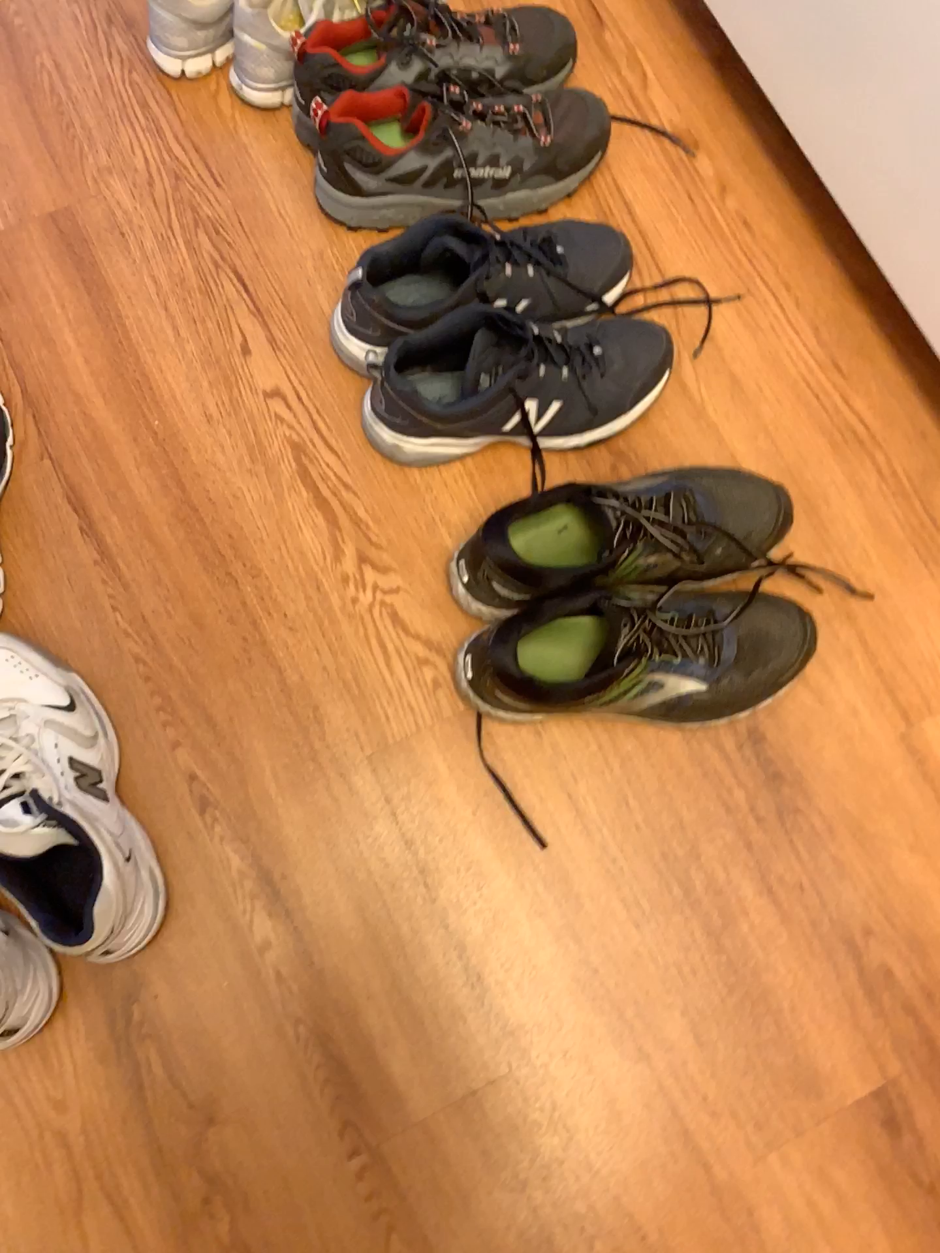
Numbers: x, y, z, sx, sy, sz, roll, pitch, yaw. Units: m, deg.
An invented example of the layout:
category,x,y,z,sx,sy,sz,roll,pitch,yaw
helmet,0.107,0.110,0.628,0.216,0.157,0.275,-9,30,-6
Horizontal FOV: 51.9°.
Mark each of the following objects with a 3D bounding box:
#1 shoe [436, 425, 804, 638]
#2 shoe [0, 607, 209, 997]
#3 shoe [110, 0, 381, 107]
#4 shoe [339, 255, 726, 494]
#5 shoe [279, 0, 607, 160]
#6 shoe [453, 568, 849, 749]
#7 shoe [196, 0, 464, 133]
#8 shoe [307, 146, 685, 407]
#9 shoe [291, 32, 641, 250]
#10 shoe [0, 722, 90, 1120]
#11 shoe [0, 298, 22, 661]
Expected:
category,x,y,z,sx,sy,sz,roll,pitch,yaw
shoe,0.123,-0.082,0.860,0.290,0.110,0.110,-10,76,-5
shoe,-0.328,0.137,0.766,0.110,0.130,0.260,-28,78,-9
shoe,-0.230,-0.671,1.026,0.270,0.080,0.080,-34,79,-11
shoe,0.051,-0.224,0.869,0.310,0.100,0.120,-12,76,-6
shoe,-0.028,-0.567,0.970,0.300,0.090,0.100,-12,76,-6
shoe,0.146,0.031,0.841,0.310,0.110,0.110,-5,76,-4
shoe,-0.142,-0.639,1.016,0.270,0.080,0.080,-34,79,-11
shoe,0.021,-0.323,0.896,0.310,0.100,0.120,-18,77,-7
shoe,-0.006,-0.475,0.949,0.310,0.090,0.120,-12,76,-6
shoe,-0.447,0.223,0.761,0.110,0.130,0.270,-40,80,-12
shoe,-0.464,-0.127,0.832,0.110,0.080,0.290,-8,76,-5
